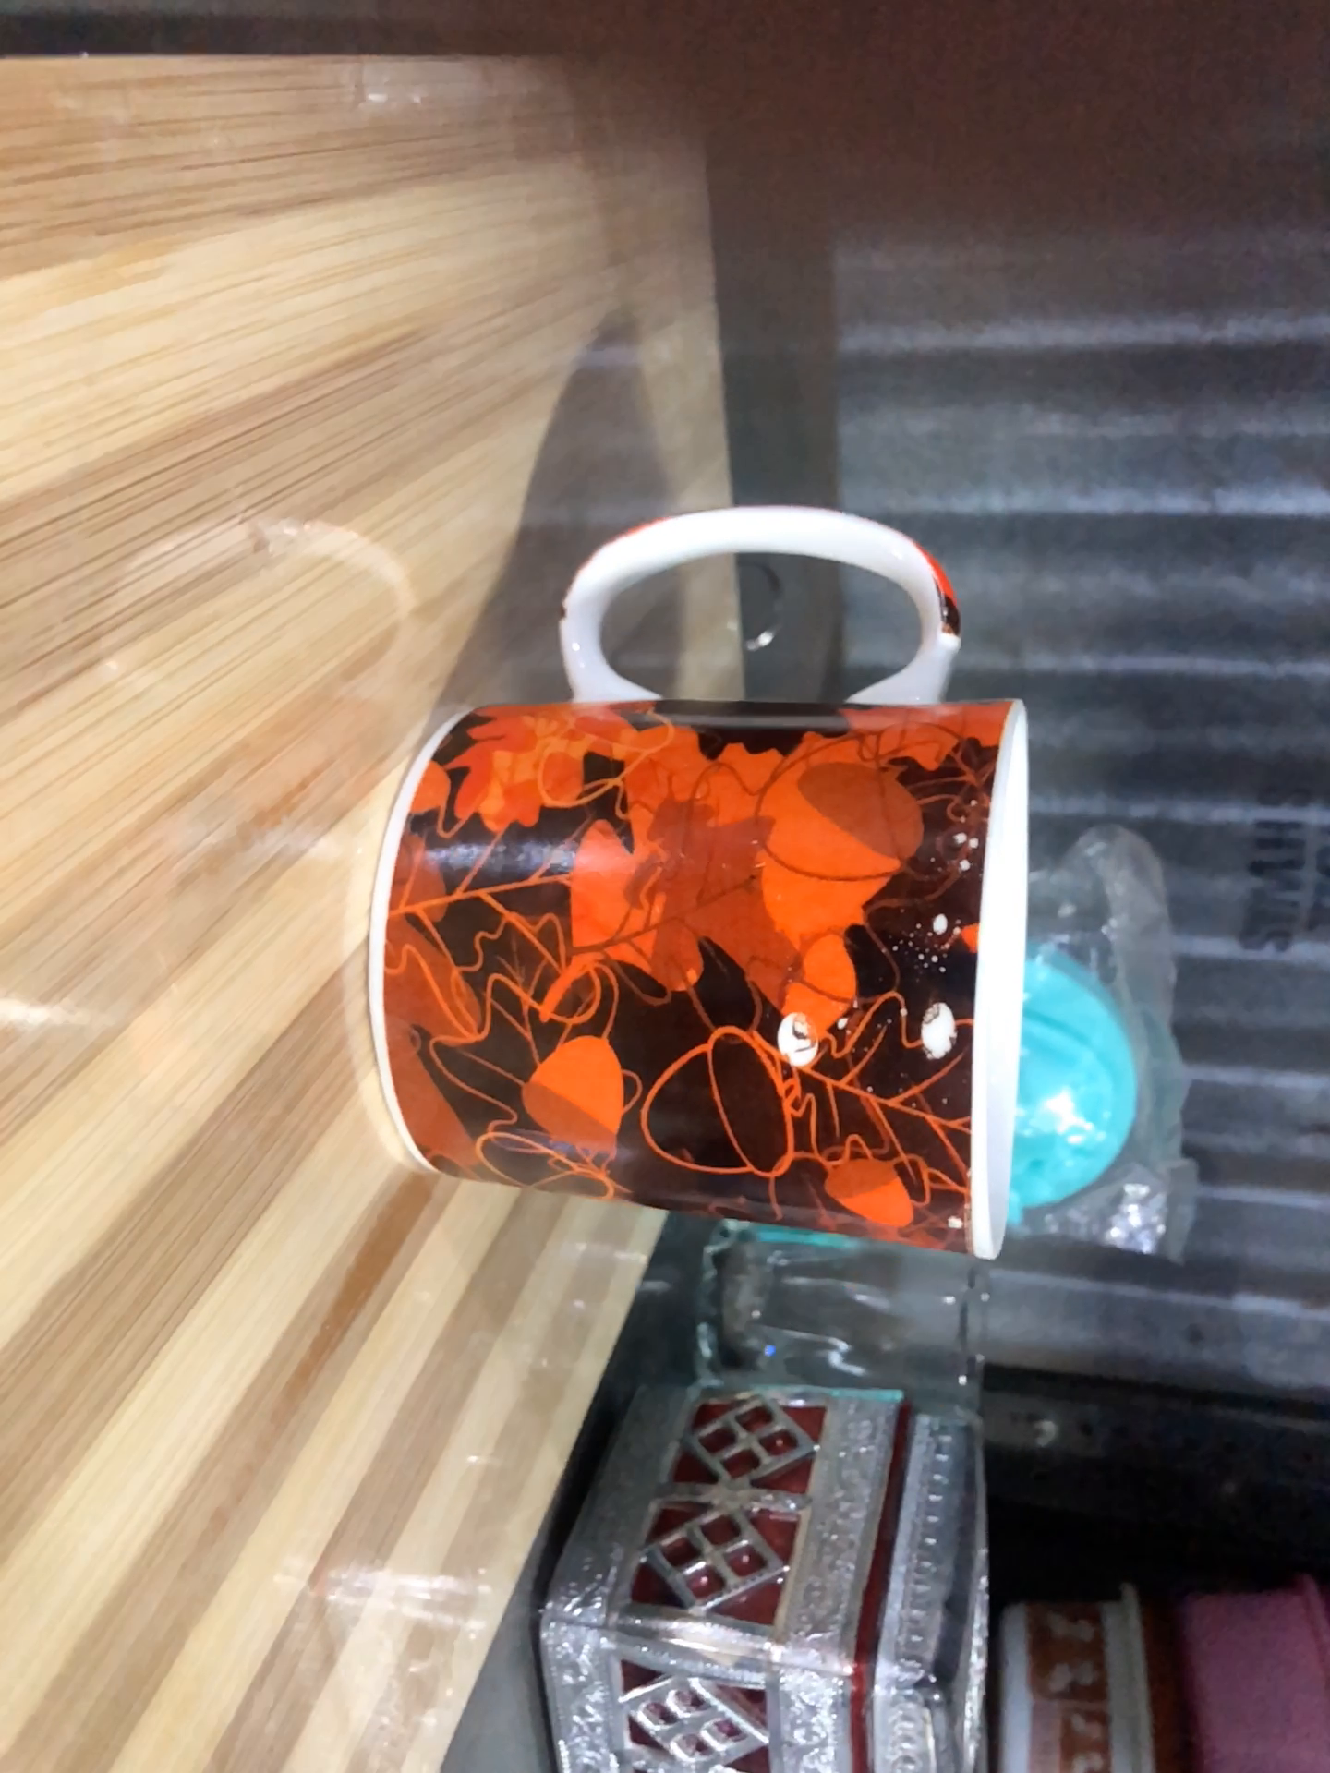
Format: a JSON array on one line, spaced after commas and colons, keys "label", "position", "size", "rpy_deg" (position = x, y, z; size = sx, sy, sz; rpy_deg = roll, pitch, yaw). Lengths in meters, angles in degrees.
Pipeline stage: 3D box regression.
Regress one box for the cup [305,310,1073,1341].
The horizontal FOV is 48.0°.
[{"label": "cup", "position": [0.012, -0.006, 0.206], "size": [0.080, 0.080, 0.110], "rpy_deg": [24, 70, -74]}]
